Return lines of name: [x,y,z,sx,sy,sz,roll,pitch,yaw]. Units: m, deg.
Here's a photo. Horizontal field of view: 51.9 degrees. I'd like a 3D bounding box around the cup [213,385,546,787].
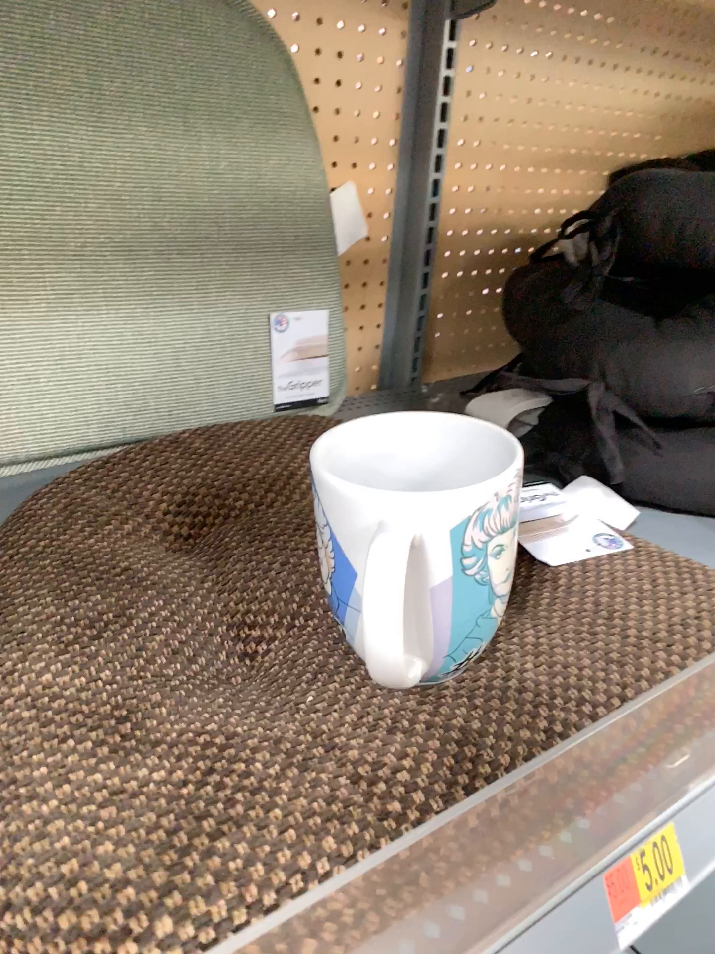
cup: [0.016,0.033,0.312,0.090,0.100,0.129,12,26,21]
